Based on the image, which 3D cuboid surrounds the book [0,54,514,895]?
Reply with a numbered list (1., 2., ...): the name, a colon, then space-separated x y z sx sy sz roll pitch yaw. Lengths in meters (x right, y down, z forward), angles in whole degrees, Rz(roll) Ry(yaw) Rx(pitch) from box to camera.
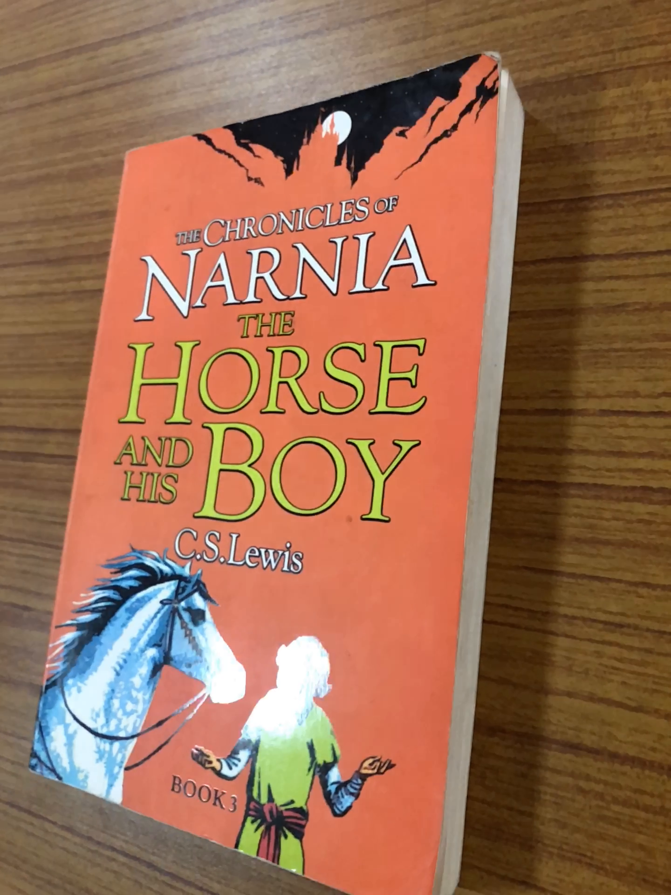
1. book: -0.028 0.008 0.201 0.131 0.030 0.190 2 81 30
